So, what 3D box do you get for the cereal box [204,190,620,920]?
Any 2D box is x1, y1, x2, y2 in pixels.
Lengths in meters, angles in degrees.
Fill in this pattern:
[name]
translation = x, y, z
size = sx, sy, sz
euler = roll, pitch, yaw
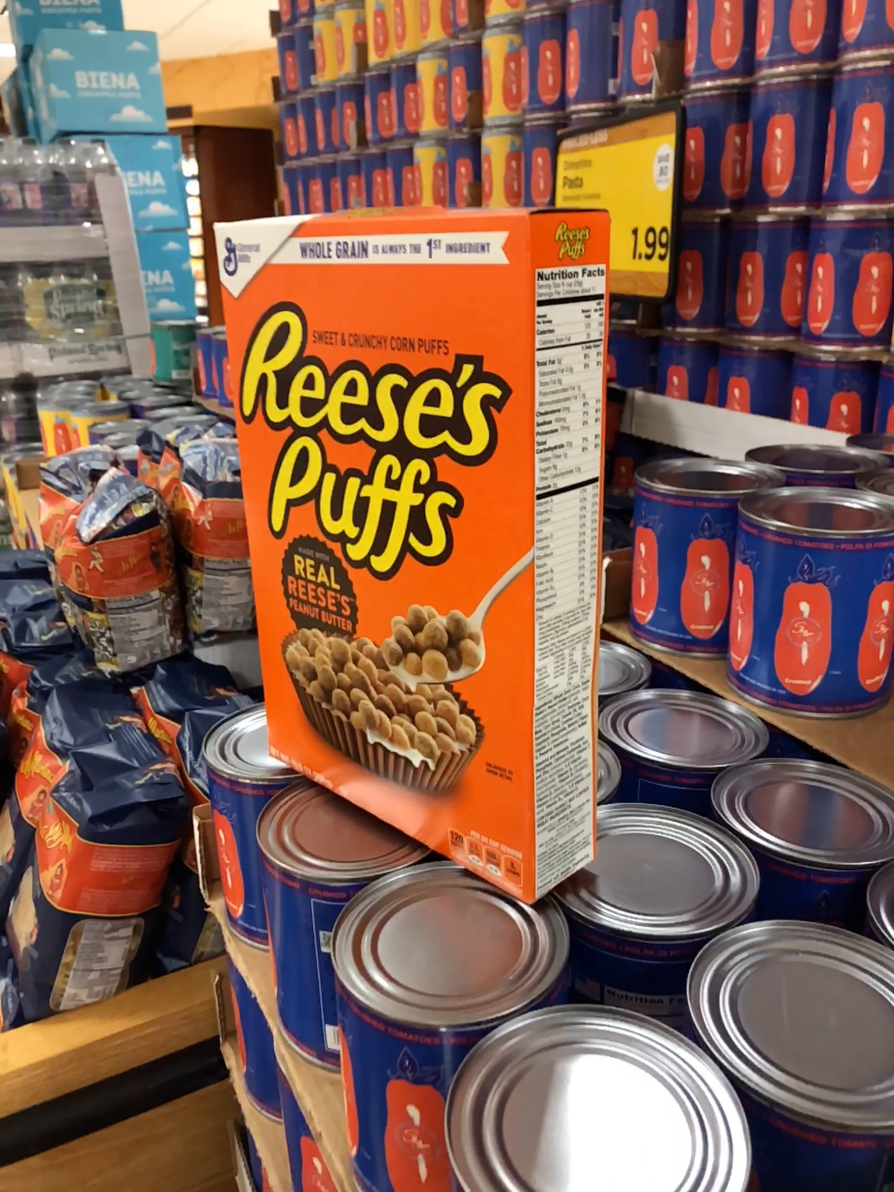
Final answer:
[cereal box]
translation = -0.021, -0.027, 0.455
size = 0.050, 0.288, 0.200
euler = -20, 27, -41
